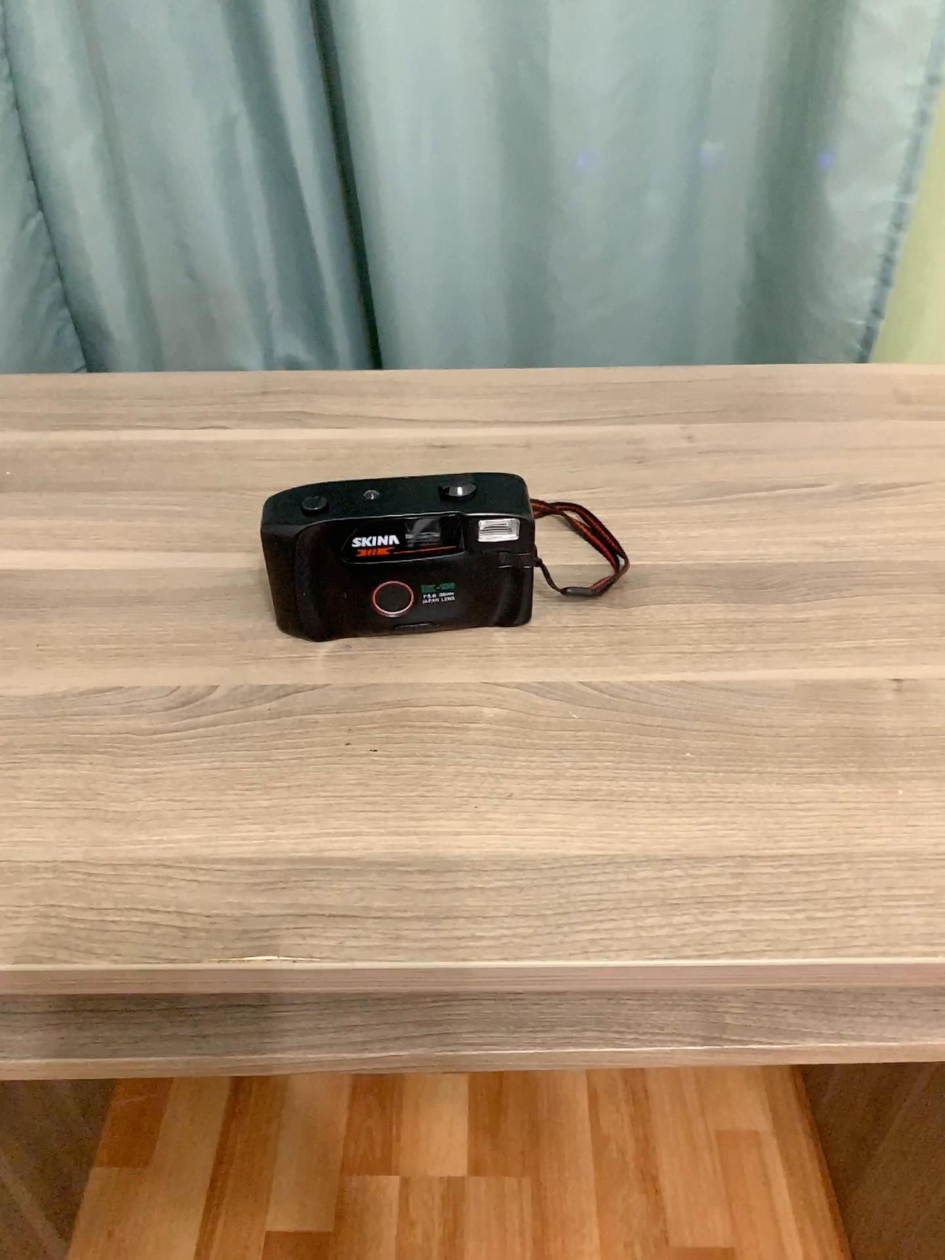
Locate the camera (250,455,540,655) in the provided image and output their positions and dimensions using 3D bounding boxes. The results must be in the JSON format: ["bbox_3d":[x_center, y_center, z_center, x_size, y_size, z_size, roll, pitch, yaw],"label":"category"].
[{"bbox_3d":[-0.034,-0.034,0.442,0.120,0.069,0.046,-4,37,-6],"label":"camera"}]
